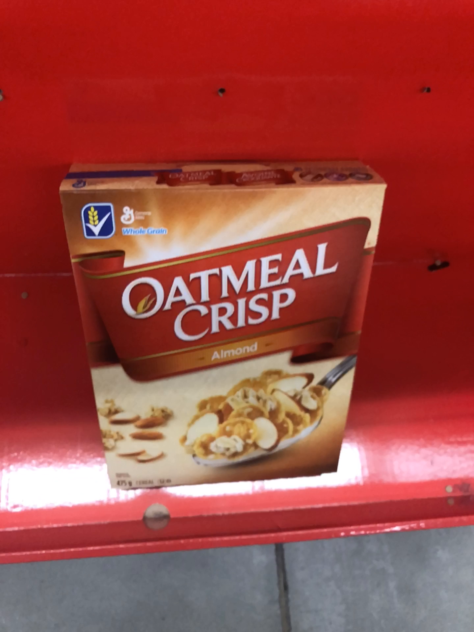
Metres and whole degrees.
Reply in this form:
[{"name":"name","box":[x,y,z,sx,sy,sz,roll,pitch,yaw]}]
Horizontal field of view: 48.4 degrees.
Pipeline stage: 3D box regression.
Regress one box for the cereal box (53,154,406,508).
[{"name":"cereal box","box":[-0.008,0.021,0.411,0.210,0.269,0.070,-3,32,-7]}]
